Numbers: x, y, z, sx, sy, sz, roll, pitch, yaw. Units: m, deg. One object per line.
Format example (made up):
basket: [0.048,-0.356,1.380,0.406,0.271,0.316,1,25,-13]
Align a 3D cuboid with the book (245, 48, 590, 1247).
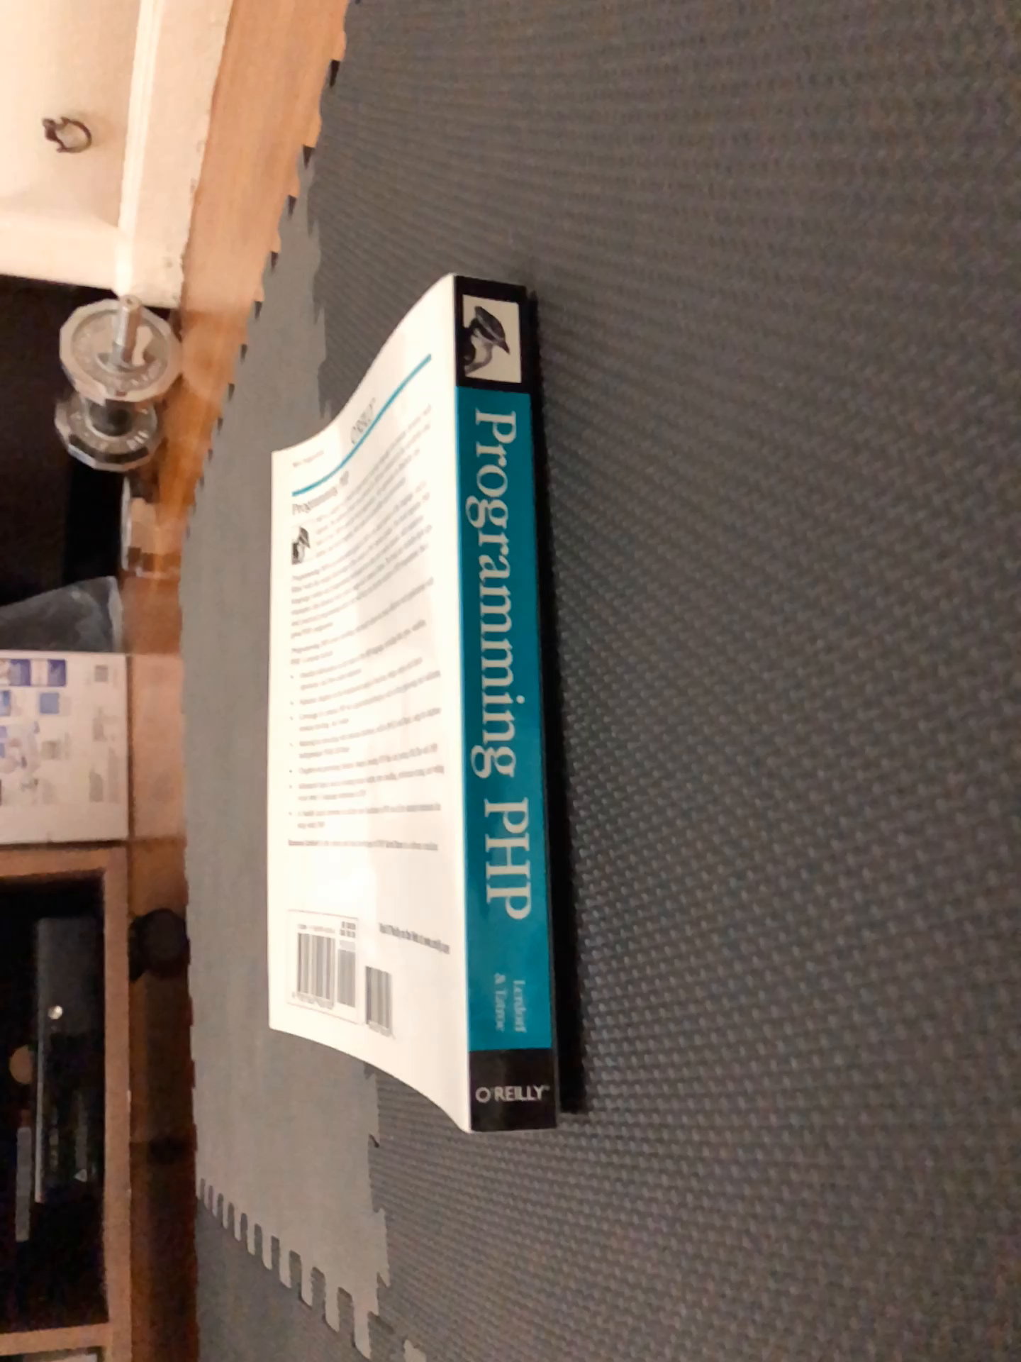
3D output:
book: [-0.049,-0.003,0.383,0.231,0.040,0.290,162,107,-67]
